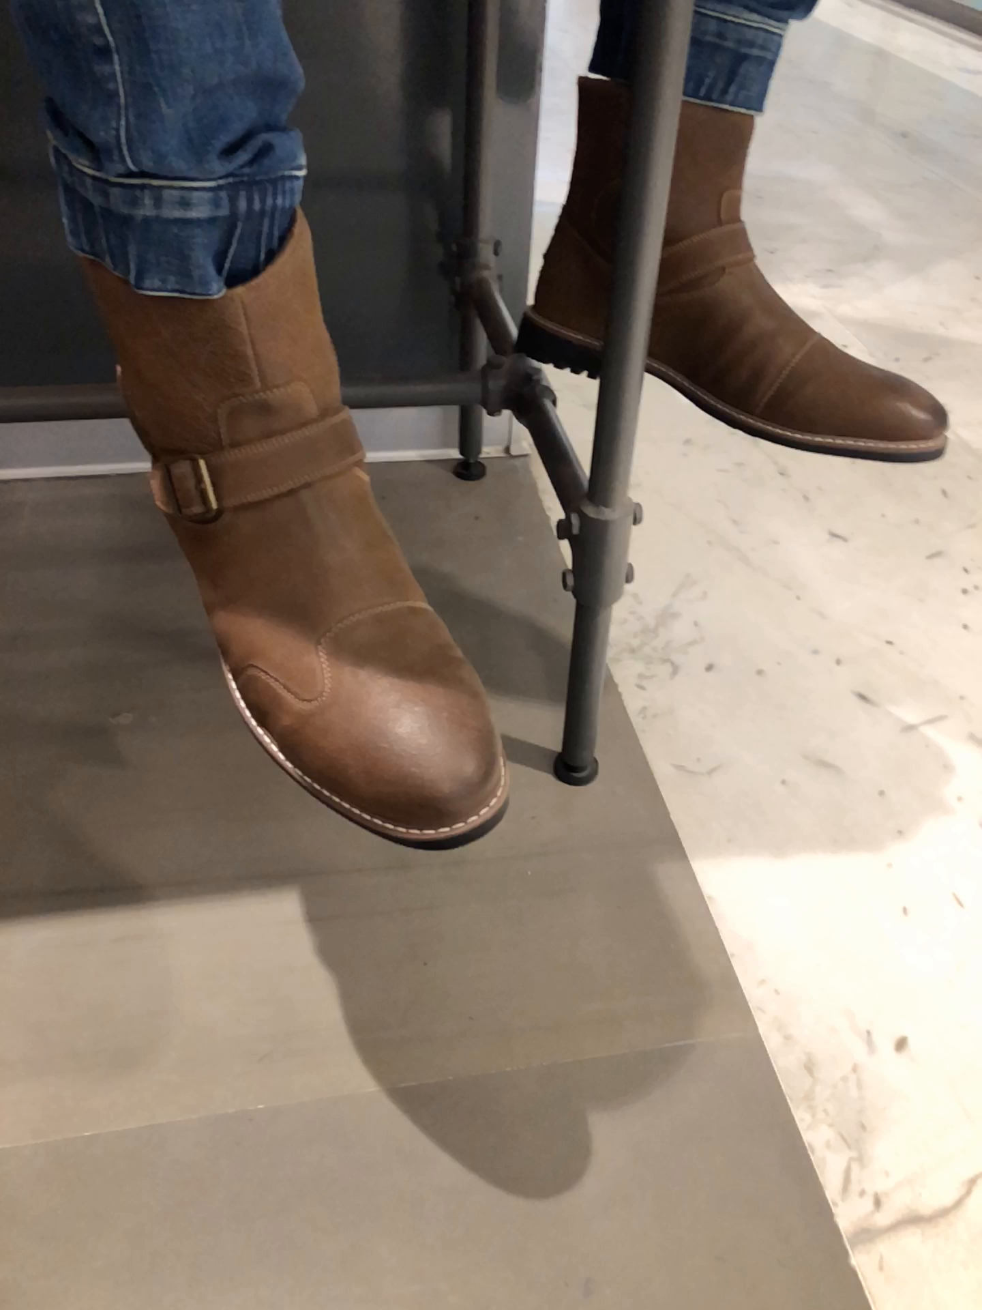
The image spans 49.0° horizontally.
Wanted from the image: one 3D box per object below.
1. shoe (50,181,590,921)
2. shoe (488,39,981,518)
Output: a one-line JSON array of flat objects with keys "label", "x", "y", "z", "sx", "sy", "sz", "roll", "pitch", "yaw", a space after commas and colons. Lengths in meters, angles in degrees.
[{"label": "shoe", "x": -0.084, "y": -0.061, "z": 0.499, "sx": 0.109, "sy": 0.206, "sz": 0.275, "roll": -23, "pitch": 47, "yaw": -22}, {"label": "shoe", "x": 0.187, "y": -0.265, "z": 0.748, "sx": 0.324, "sy": 0.206, "sz": 0.114, "roll": 25, "pitch": 33, "yaw": 15}]
